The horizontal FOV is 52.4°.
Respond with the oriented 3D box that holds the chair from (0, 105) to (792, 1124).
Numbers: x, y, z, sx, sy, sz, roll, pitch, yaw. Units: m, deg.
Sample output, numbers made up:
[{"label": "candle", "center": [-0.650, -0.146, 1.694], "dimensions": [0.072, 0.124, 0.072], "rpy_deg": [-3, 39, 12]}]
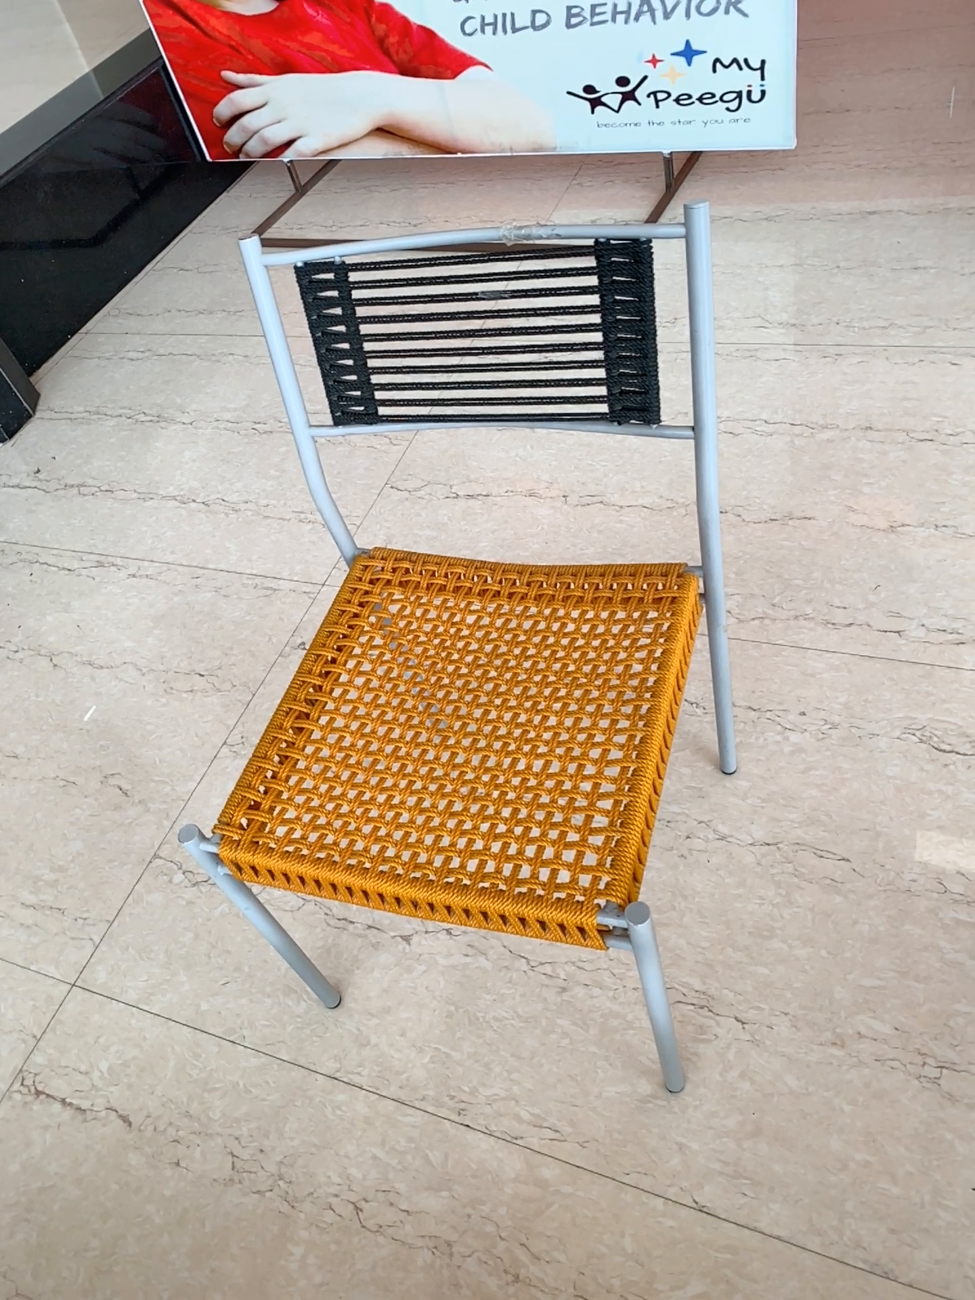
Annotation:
[{"label": "chair", "center": [0.002, 0.015, 0.992], "dimensions": [0.521, 0.804, 0.513], "rpy_deg": [6, 51, 22]}]
